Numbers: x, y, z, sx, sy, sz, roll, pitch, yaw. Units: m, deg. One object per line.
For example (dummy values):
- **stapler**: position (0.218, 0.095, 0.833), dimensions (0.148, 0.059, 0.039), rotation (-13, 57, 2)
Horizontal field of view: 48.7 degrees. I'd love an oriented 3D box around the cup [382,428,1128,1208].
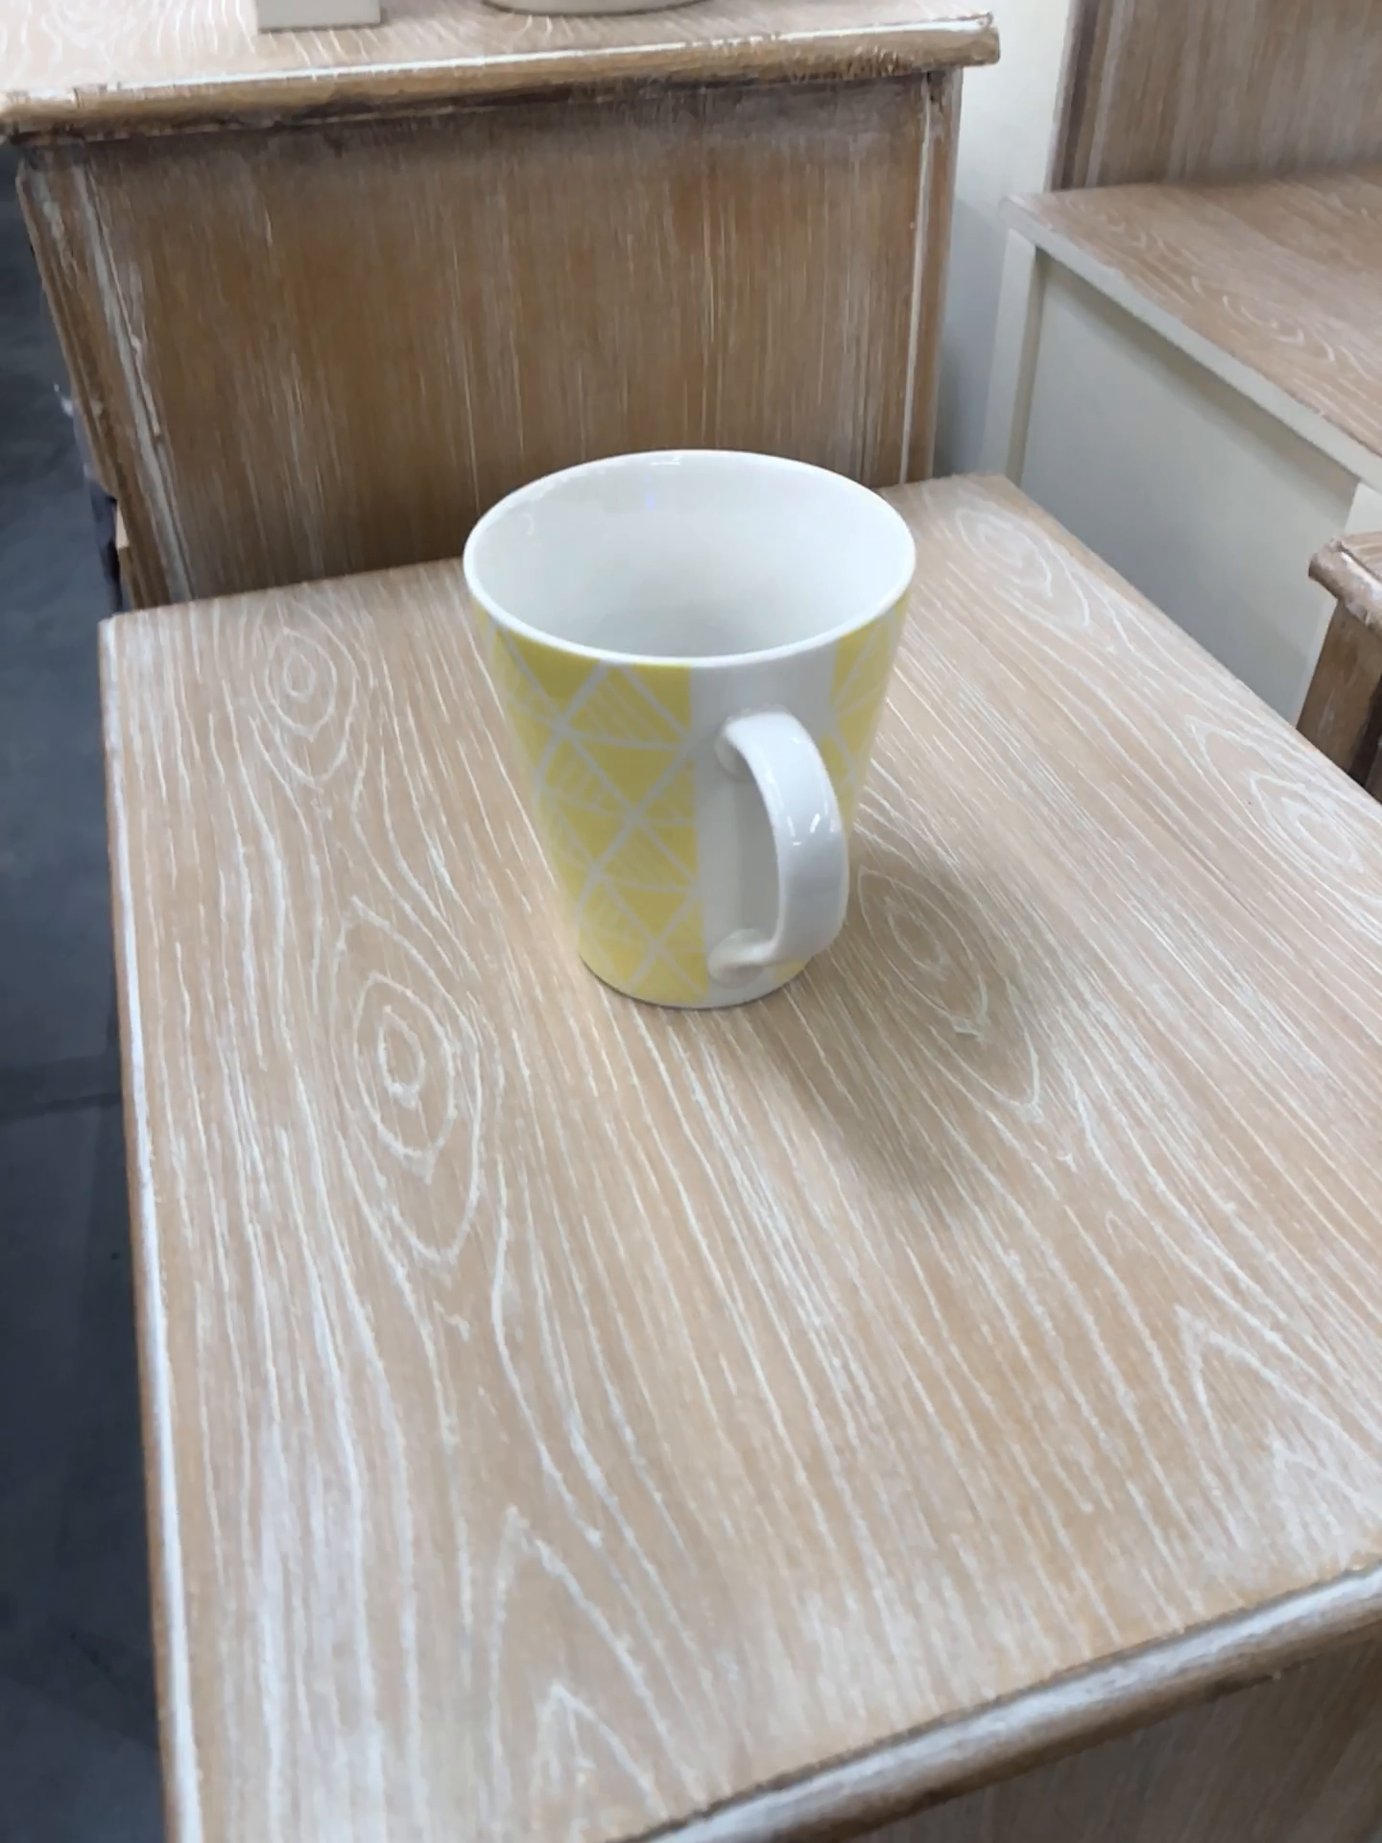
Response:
- **cup**: position (0.005, -0.030, 0.321), dimensions (0.102, 0.090, 0.125), rotation (-14, 42, -16)
